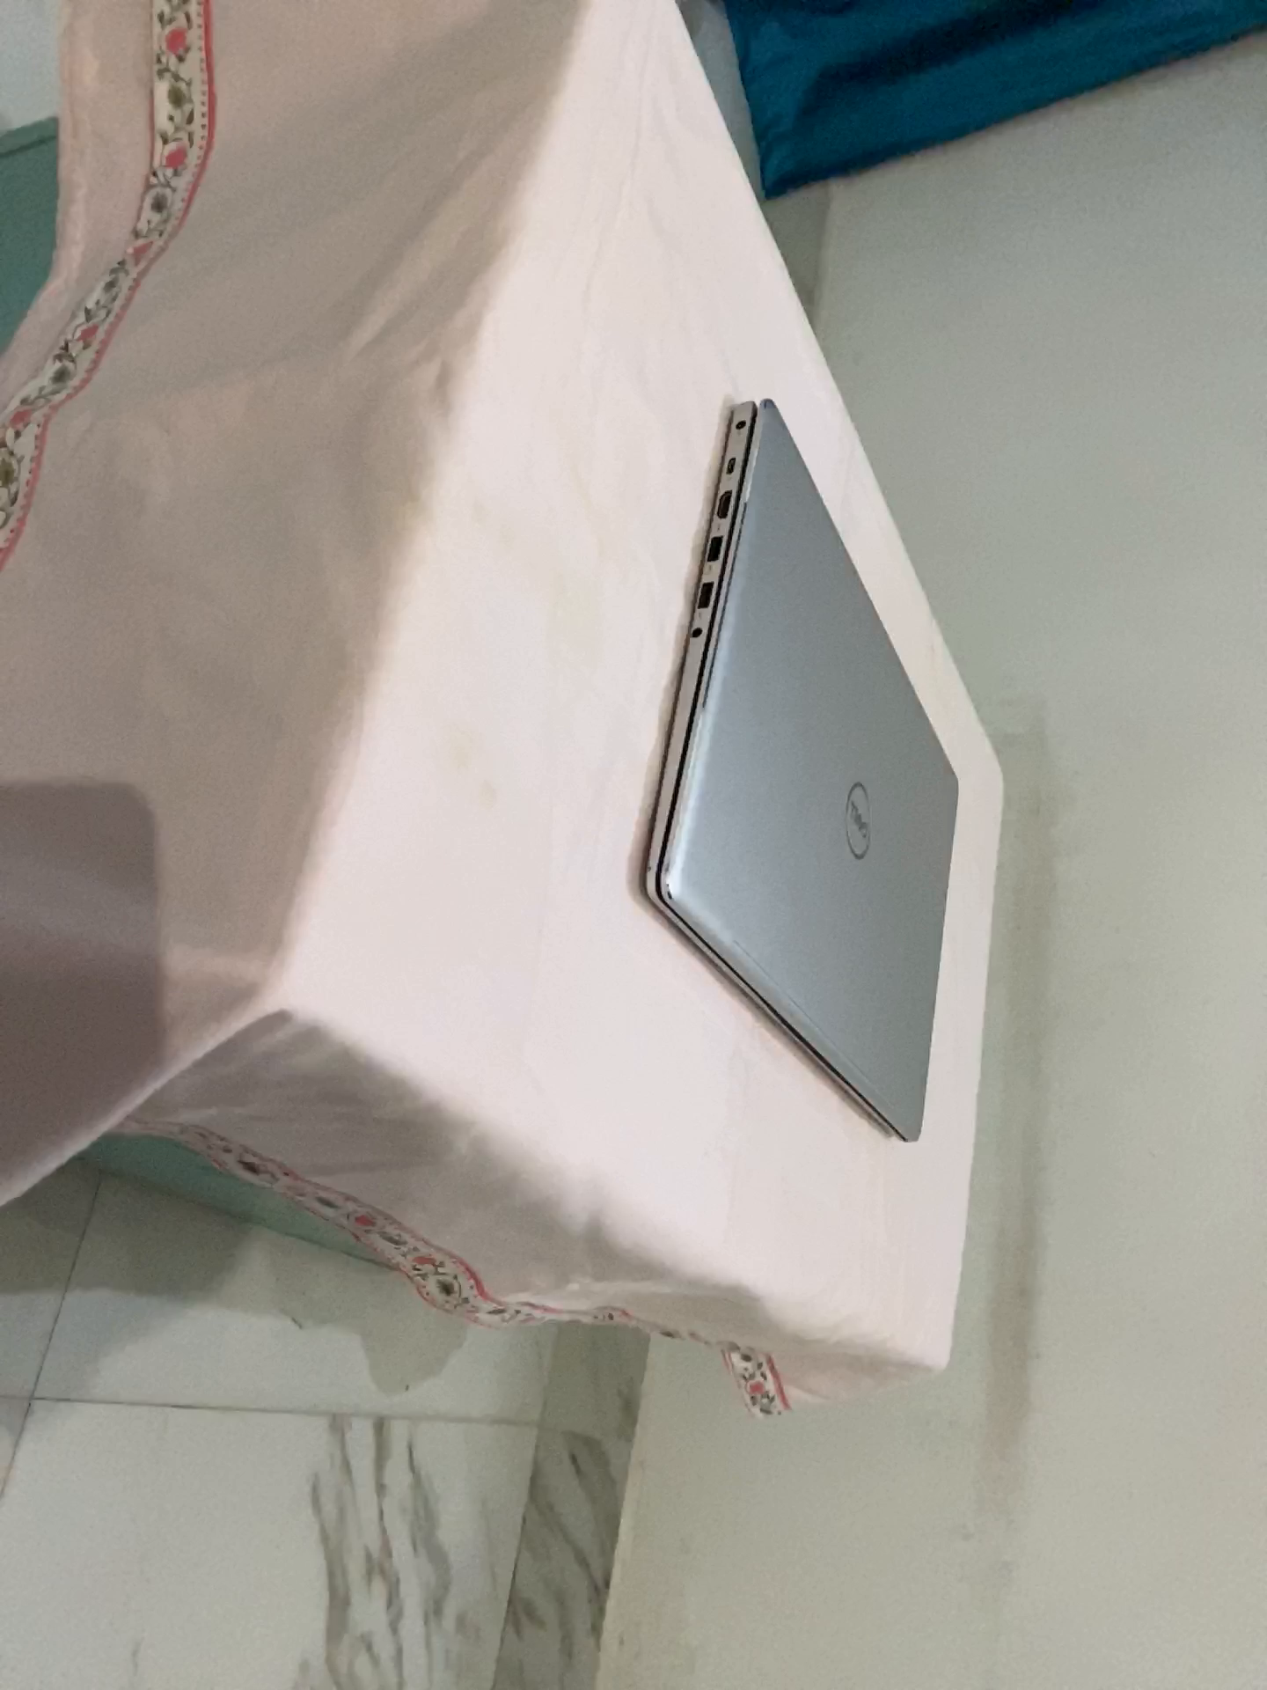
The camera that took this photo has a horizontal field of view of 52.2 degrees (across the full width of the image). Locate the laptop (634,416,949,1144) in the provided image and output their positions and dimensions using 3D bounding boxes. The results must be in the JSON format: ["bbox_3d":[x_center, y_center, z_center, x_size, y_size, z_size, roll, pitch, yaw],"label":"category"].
[{"bbox_3d":[0.105,-0.006,0.666,0.361,0.004,0.236,46,51,-53],"label":"laptop"}]
